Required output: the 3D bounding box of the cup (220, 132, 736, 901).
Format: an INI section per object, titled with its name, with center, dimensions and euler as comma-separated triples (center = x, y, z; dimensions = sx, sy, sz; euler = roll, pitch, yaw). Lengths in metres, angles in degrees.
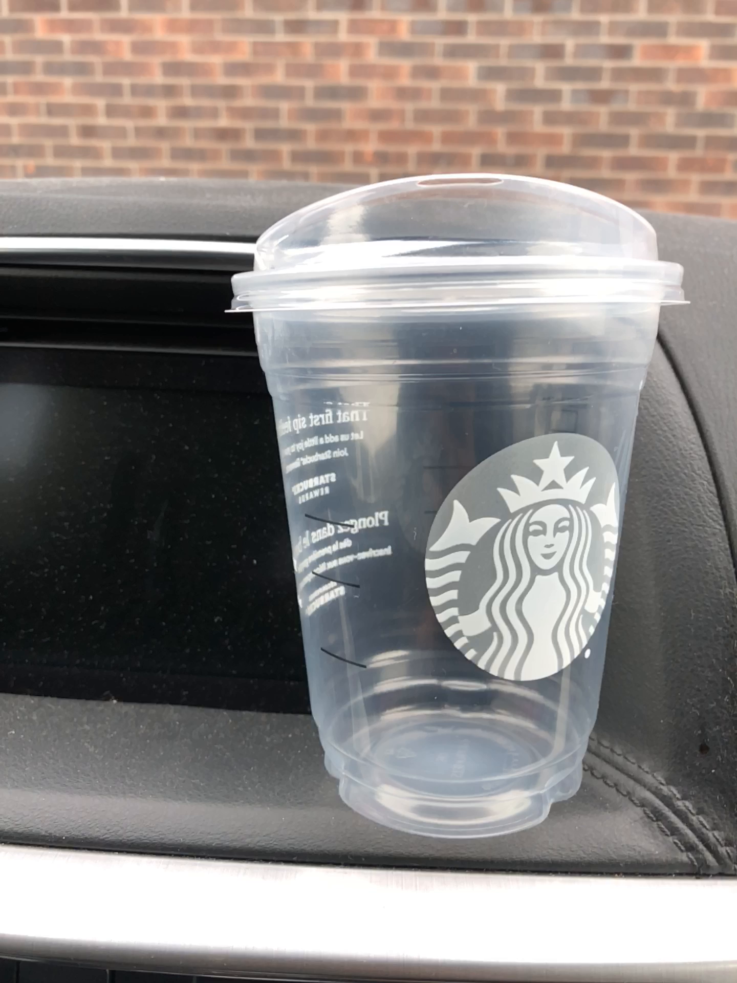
[cup]
center = 0.021, -0.003, 0.180
dimensions = 0.088, 0.125, 0.082
euler = 1, 17, 0
